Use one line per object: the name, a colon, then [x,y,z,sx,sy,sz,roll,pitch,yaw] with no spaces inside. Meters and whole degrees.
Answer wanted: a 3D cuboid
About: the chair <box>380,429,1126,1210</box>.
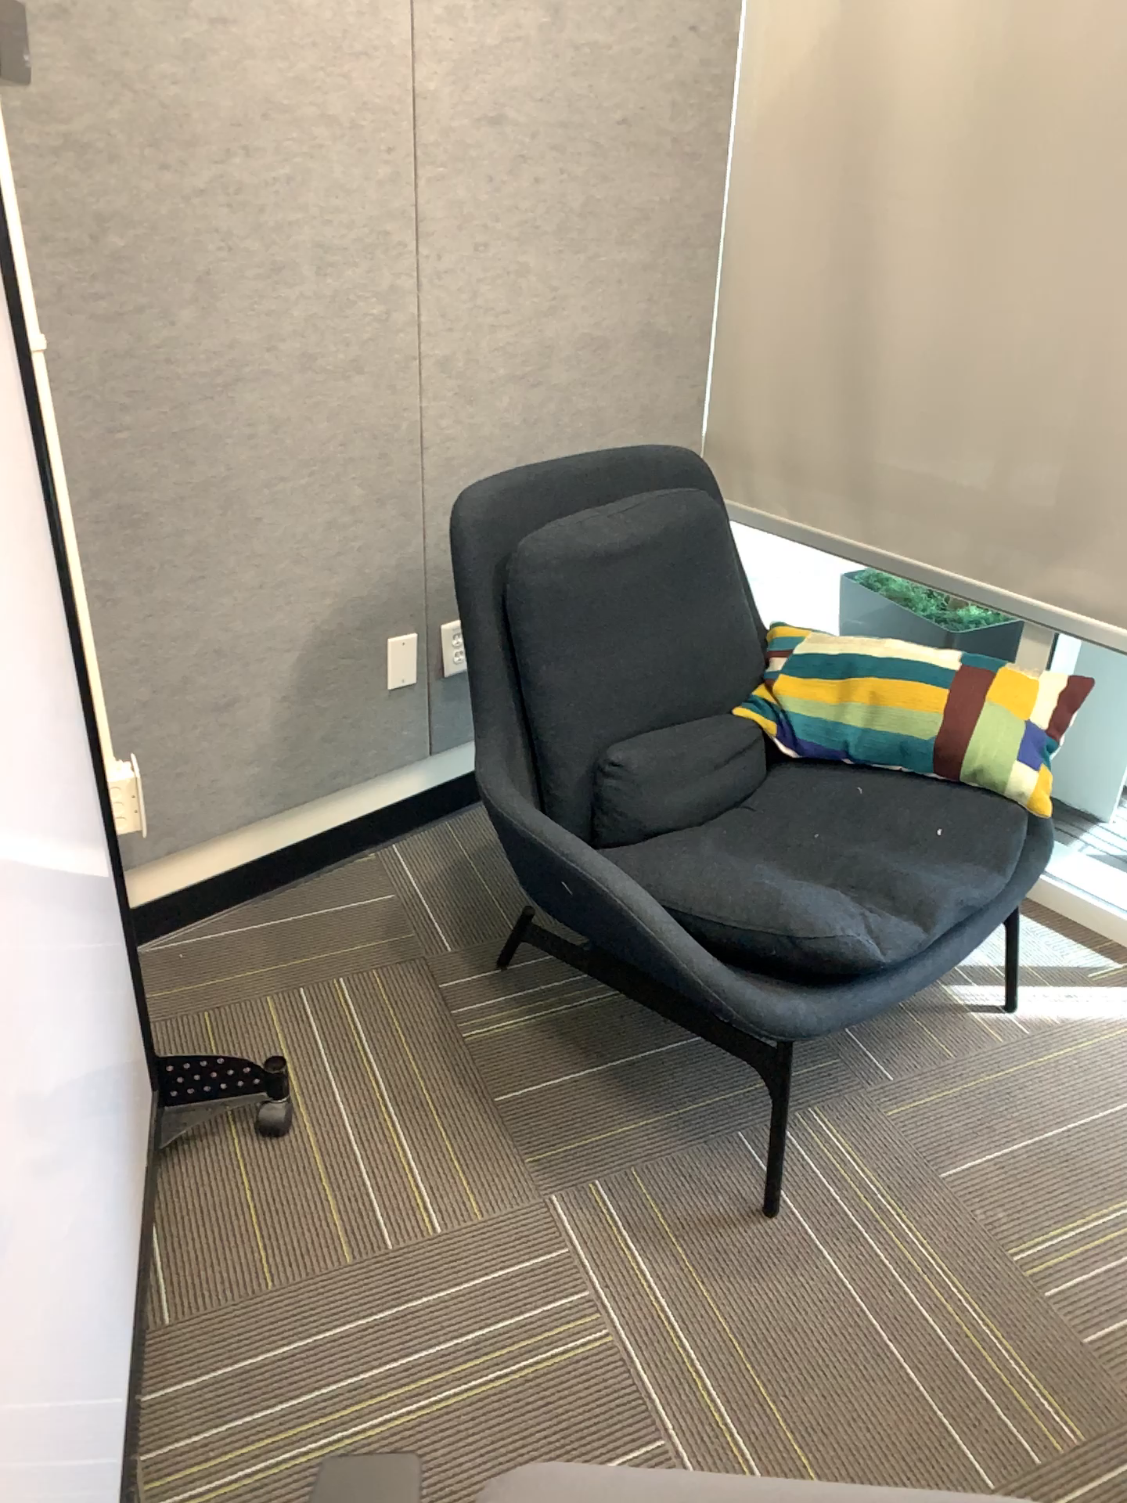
chair: [0.282,-0.004,2.023,0.791,0.816,1.004,-18,35,-32]
